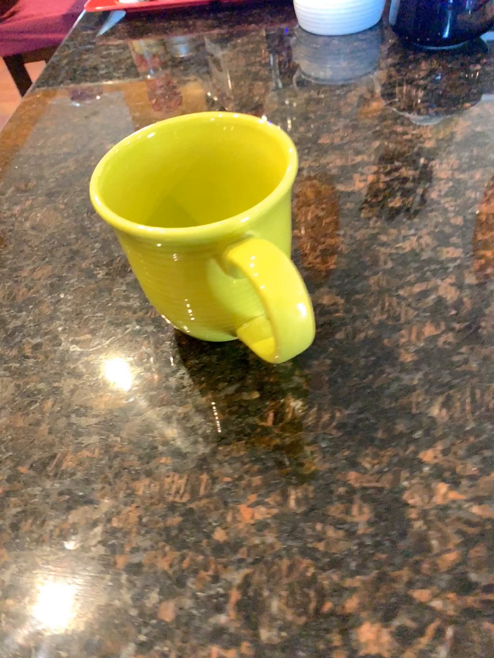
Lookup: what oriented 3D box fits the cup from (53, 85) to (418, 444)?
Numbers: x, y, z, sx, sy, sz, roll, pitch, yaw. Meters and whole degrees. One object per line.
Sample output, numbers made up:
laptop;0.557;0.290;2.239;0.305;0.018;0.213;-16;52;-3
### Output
cup;-0.012;-0.044;0.266;0.110;0.080;0.151;-28;52;-15
